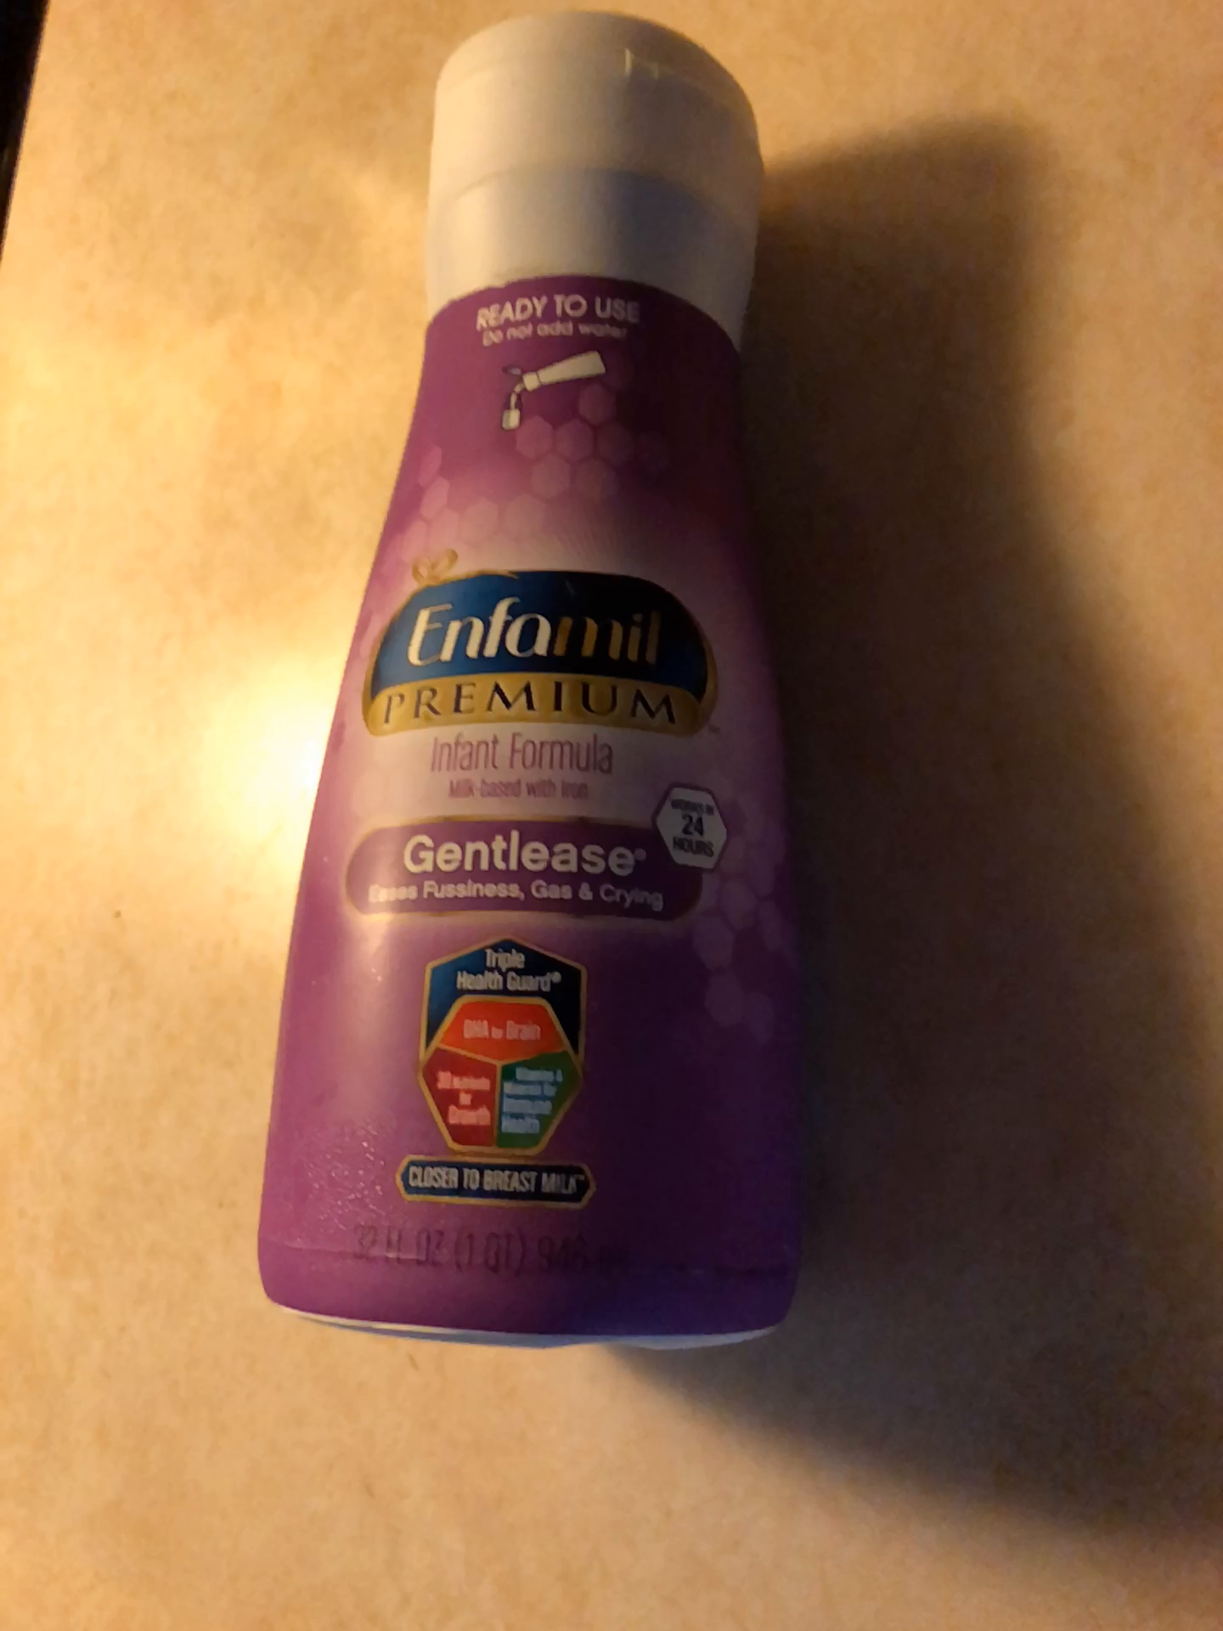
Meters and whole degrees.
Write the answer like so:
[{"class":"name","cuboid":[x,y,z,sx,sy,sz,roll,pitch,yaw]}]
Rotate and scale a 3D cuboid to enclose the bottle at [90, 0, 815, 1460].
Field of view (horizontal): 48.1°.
[{"class":"bottle","cuboid":[-0.011,-0.049,0.250,0.090,0.100,0.280,0,78,11]}]
